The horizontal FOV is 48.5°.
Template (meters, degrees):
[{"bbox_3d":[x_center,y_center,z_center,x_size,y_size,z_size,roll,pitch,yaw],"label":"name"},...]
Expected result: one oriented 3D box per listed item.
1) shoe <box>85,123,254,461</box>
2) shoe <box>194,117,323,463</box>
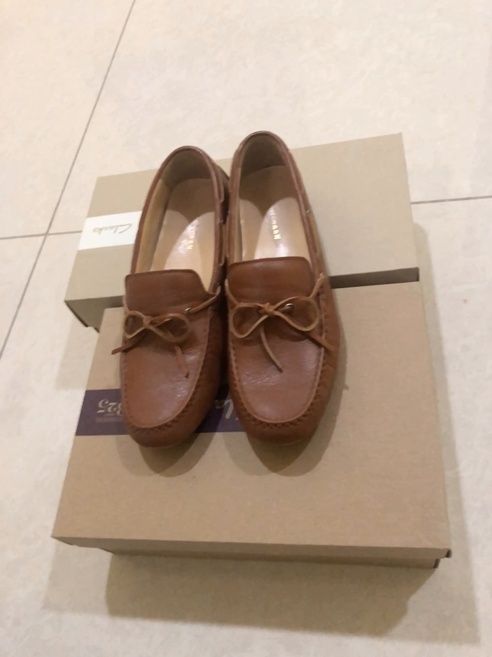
[{"bbox_3d":[-0.054,-0.037,0.472,0.080,0.080,0.280,-1,66,15],"label":"shoe"},{"bbox_3d":[0.014,-0.038,0.461,0.080,0.080,0.280,-5,64,12],"label":"shoe"}]
